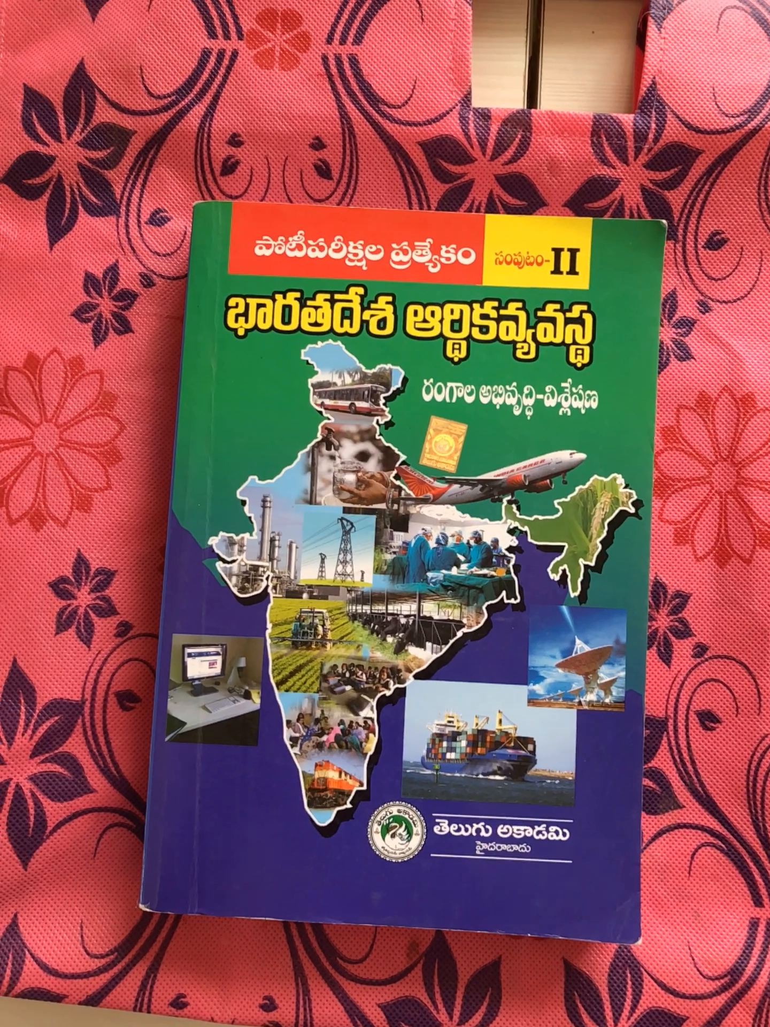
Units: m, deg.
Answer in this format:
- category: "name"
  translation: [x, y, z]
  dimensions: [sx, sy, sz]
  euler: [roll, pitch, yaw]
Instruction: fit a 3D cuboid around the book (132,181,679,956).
- category: "book"
  translation: [0.011, 0.017, 0.341]
  dimensions: [0.190, 0.040, 0.280]
  euler: [3, 86, 0]
